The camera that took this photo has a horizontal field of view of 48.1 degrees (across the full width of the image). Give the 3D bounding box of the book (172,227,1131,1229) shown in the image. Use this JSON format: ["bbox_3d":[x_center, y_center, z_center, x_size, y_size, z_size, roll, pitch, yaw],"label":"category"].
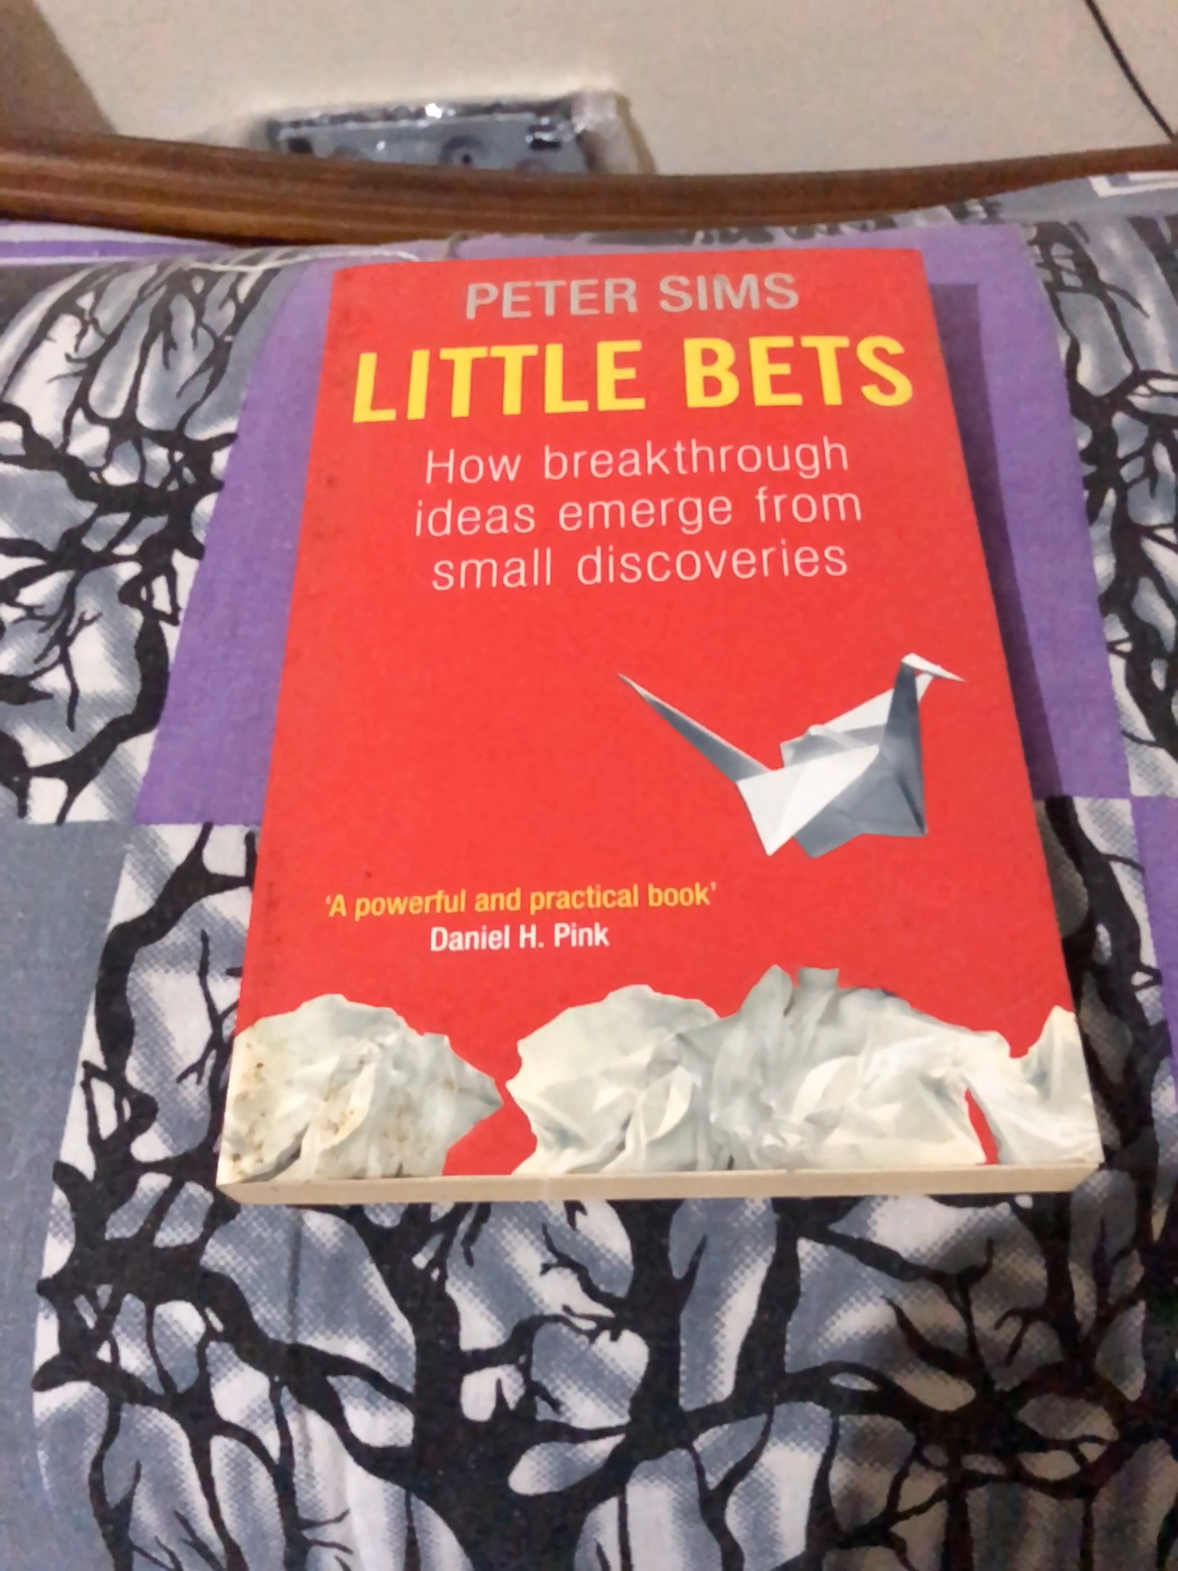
[{"bbox_3d":[0.010,-0.032,0.280,0.150,0.020,0.241,-2,57,4],"label":"book"}]
